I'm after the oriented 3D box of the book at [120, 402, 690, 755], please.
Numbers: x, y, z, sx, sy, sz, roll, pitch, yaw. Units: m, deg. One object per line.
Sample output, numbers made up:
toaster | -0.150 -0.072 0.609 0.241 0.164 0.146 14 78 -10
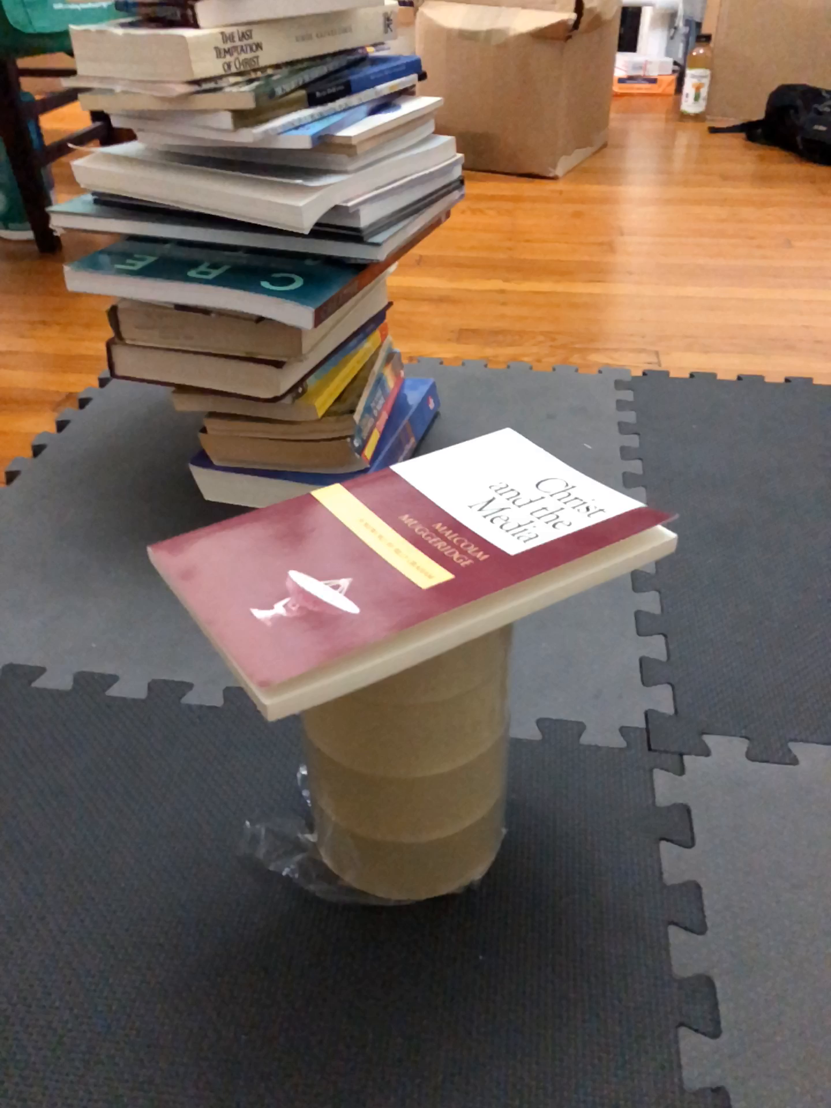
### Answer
book | -0.005 -0.006 0.409 0.210 0.020 0.141 -22 40 -26
